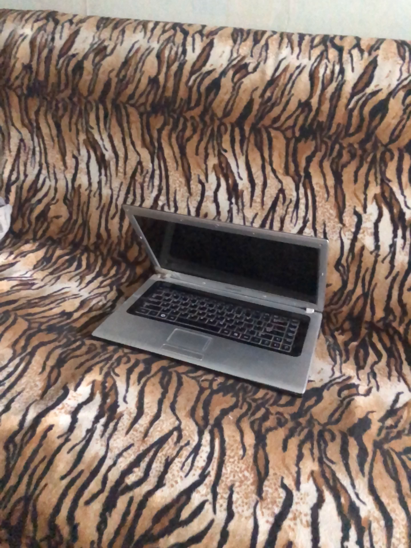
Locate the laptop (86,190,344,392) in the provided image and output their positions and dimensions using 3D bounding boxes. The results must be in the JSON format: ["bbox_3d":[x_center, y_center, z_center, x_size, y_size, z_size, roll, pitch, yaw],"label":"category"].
[{"bbox_3d":[0.022,0.004,0.752,0.350,0.179,0.239,13,29,16],"label":"laptop"}]
